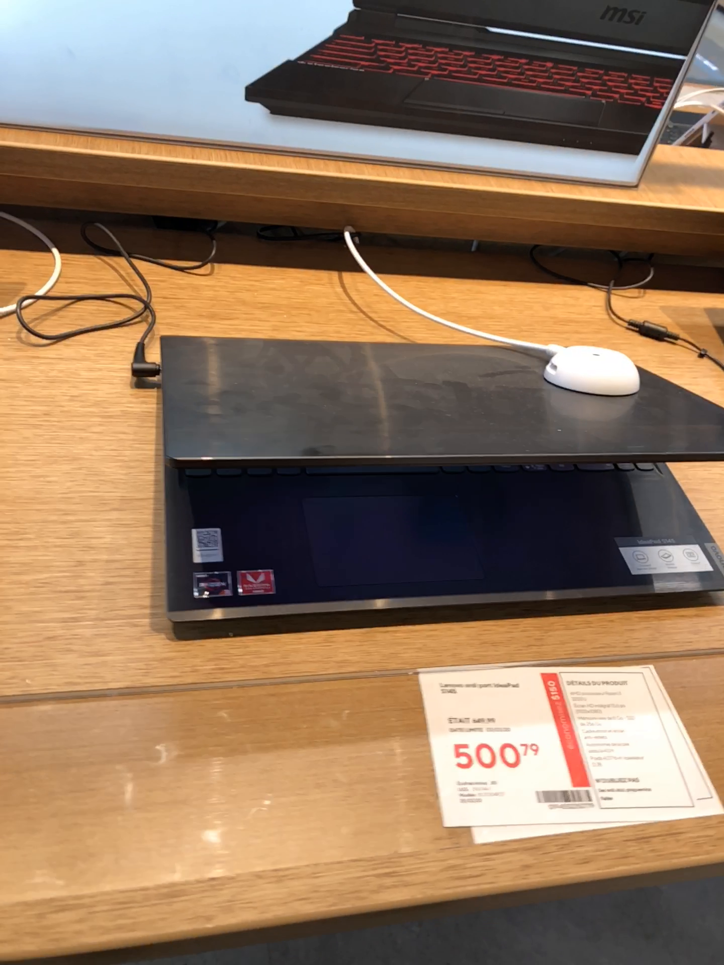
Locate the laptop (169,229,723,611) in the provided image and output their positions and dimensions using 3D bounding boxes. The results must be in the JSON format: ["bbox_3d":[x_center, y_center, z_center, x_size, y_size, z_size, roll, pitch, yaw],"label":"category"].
[{"bbox_3d":[0.050,-0.050,0.503,0.331,0.083,0.224,-1,47,-17],"label":"laptop"}]
